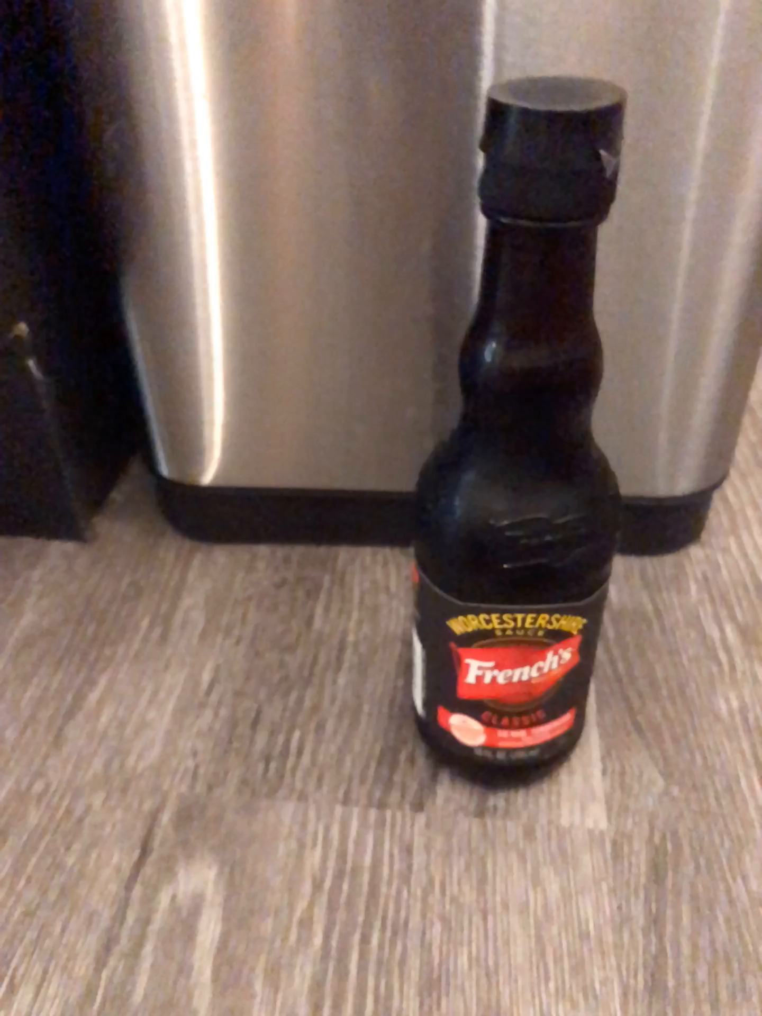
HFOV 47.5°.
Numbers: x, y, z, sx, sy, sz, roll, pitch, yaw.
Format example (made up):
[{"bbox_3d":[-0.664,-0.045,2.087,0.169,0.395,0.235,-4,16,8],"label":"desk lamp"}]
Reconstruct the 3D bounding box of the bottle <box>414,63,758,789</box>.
[{"bbox_3d":[0.040,-0.007,0.241,0.060,0.199,0.060,-1,38,1],"label":"bottle"}]
